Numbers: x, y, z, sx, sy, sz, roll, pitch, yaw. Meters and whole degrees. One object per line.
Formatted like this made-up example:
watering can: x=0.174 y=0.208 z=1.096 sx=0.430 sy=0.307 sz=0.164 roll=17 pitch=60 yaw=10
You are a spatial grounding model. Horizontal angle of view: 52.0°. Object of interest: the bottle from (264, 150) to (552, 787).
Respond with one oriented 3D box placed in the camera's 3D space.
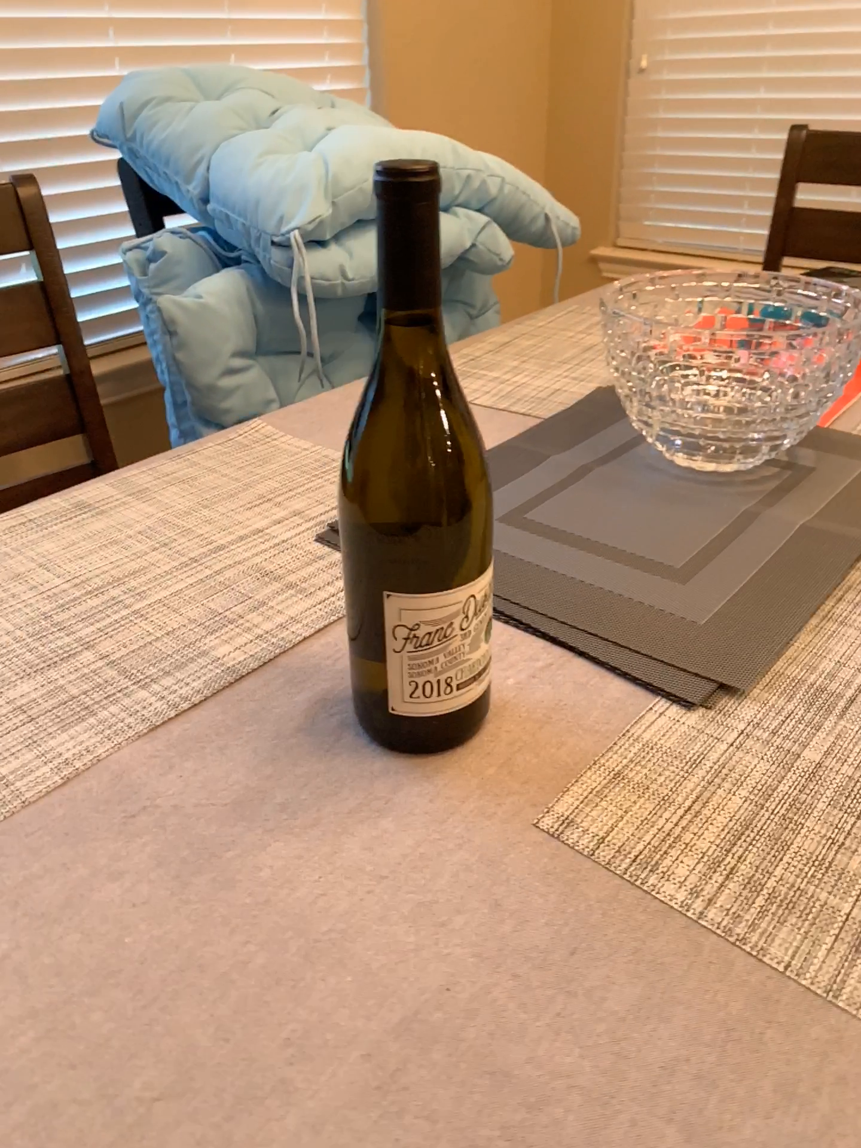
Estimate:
bottle: x=-0.007 y=-0.044 z=0.437 sx=0.090 sy=0.288 sz=0.080 roll=-20 pitch=35 yaw=-28
